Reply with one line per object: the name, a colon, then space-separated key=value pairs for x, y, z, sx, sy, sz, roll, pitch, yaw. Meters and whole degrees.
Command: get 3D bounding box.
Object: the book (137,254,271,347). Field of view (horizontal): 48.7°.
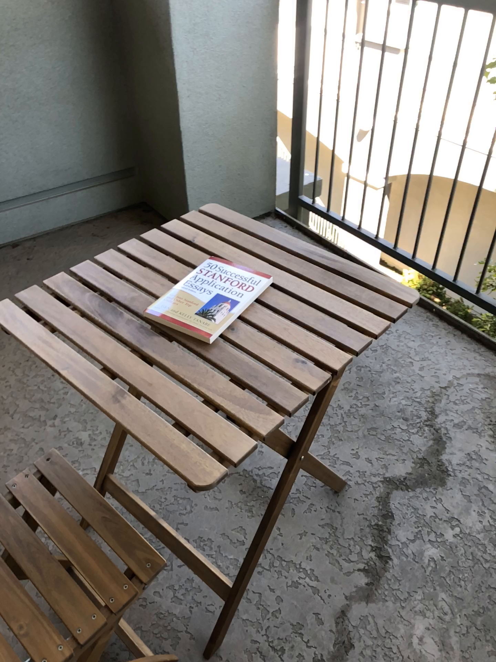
book: x=-0.079 y=-0.067 z=1.050 sx=0.157 sy=0.020 sz=0.224 roll=21 pitch=45 yaw=24
